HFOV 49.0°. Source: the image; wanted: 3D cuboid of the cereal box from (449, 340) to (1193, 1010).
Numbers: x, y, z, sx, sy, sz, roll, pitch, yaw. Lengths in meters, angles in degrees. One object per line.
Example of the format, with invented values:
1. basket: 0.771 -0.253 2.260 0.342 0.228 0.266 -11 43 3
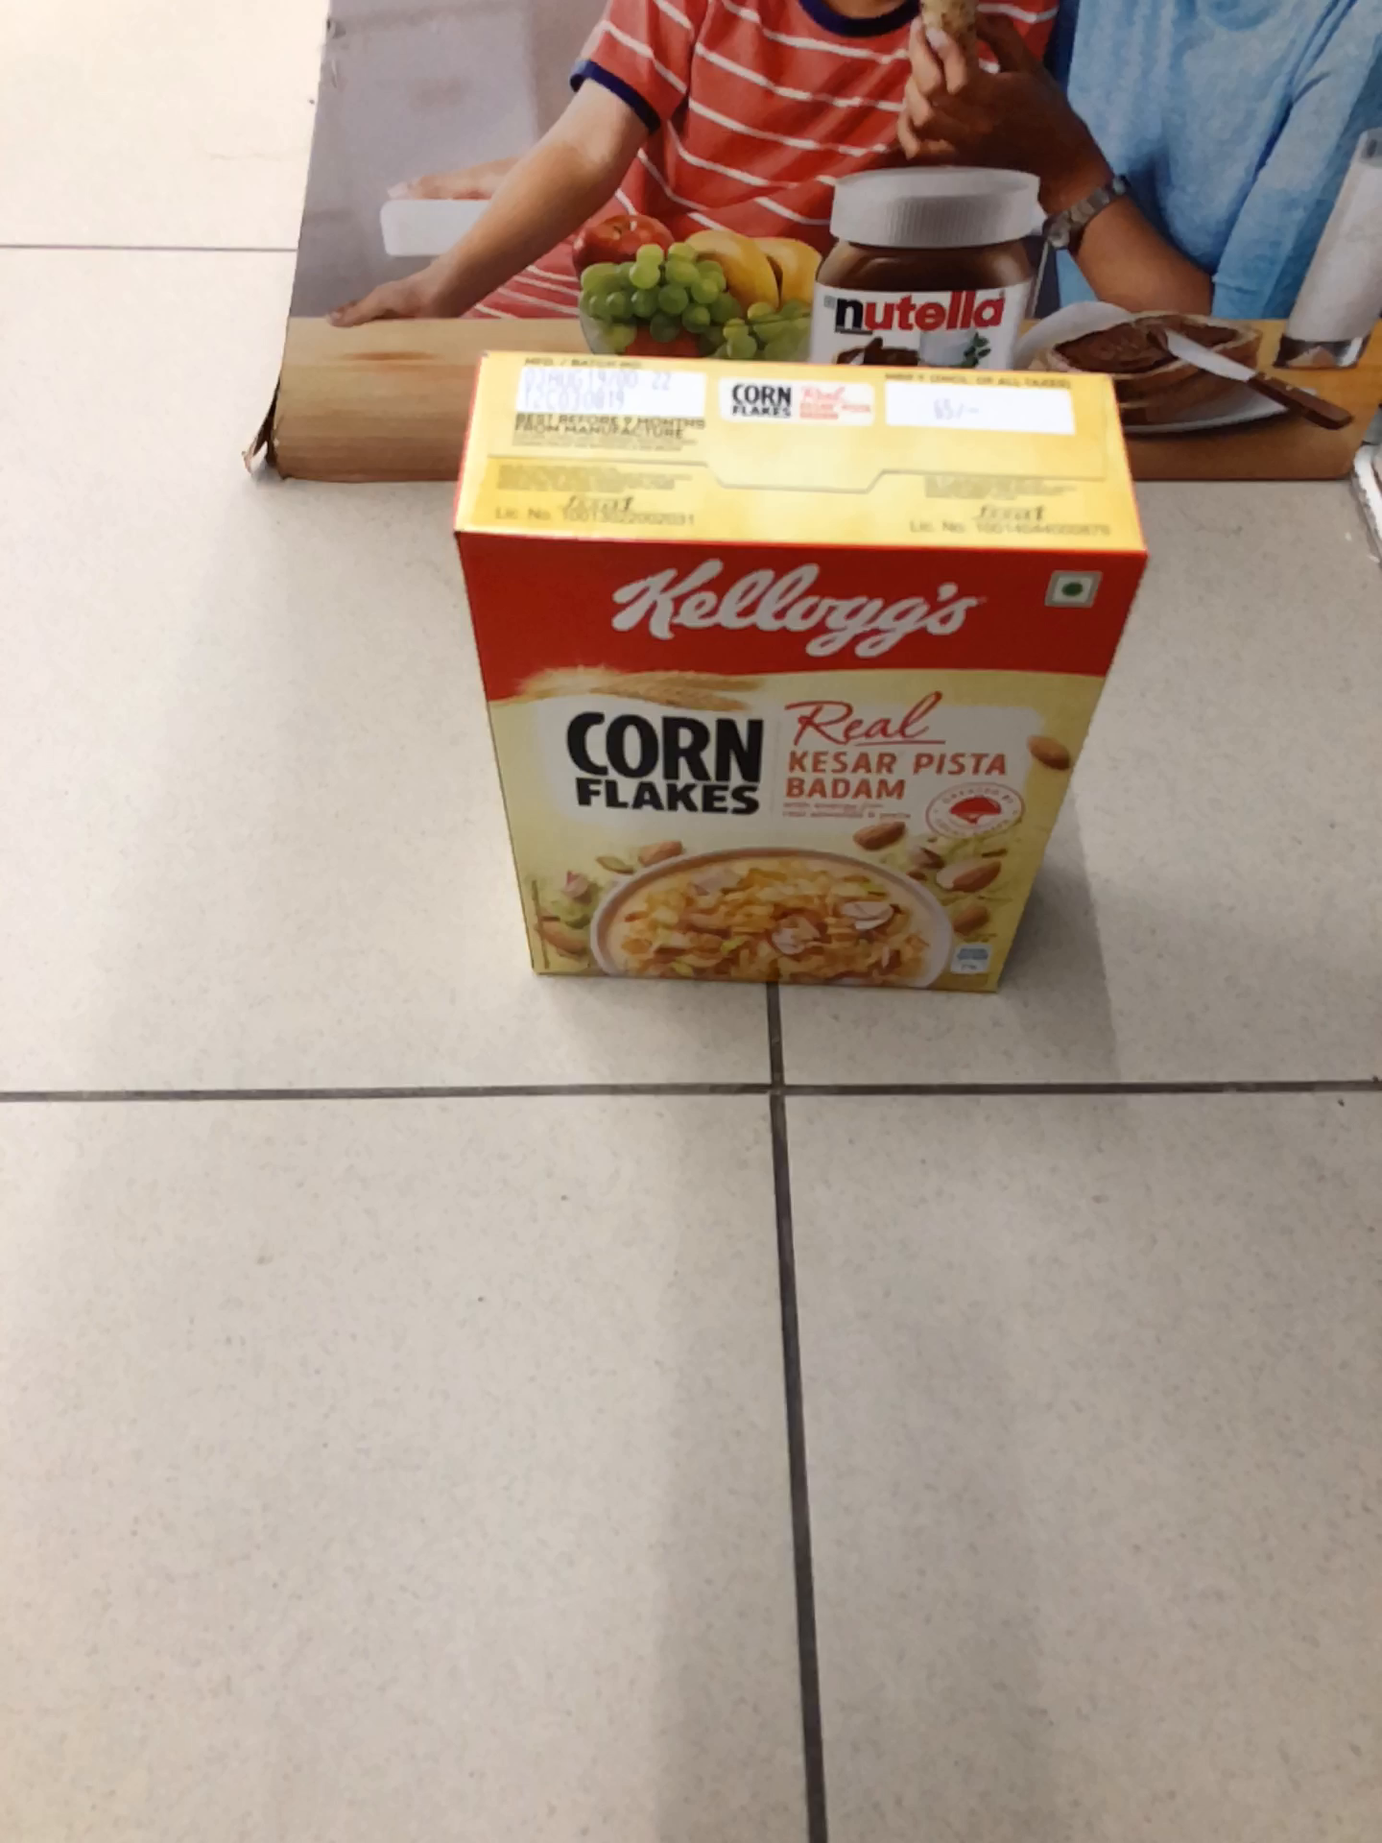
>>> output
1. cereal box: 0.023 -0.048 0.372 0.140 0.169 0.060 1 56 -1
